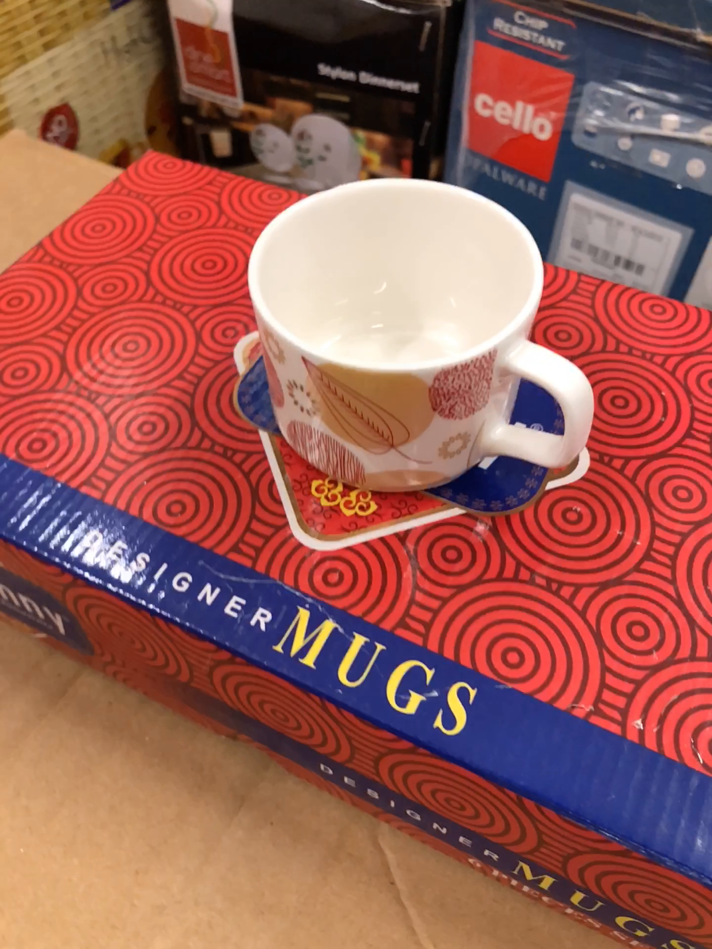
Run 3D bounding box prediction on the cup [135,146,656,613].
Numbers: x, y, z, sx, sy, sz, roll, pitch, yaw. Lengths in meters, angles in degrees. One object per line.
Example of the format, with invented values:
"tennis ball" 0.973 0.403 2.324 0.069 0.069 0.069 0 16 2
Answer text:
"cup" 0.010 -0.027 0.193 0.090 0.050 0.070 27 57 18
